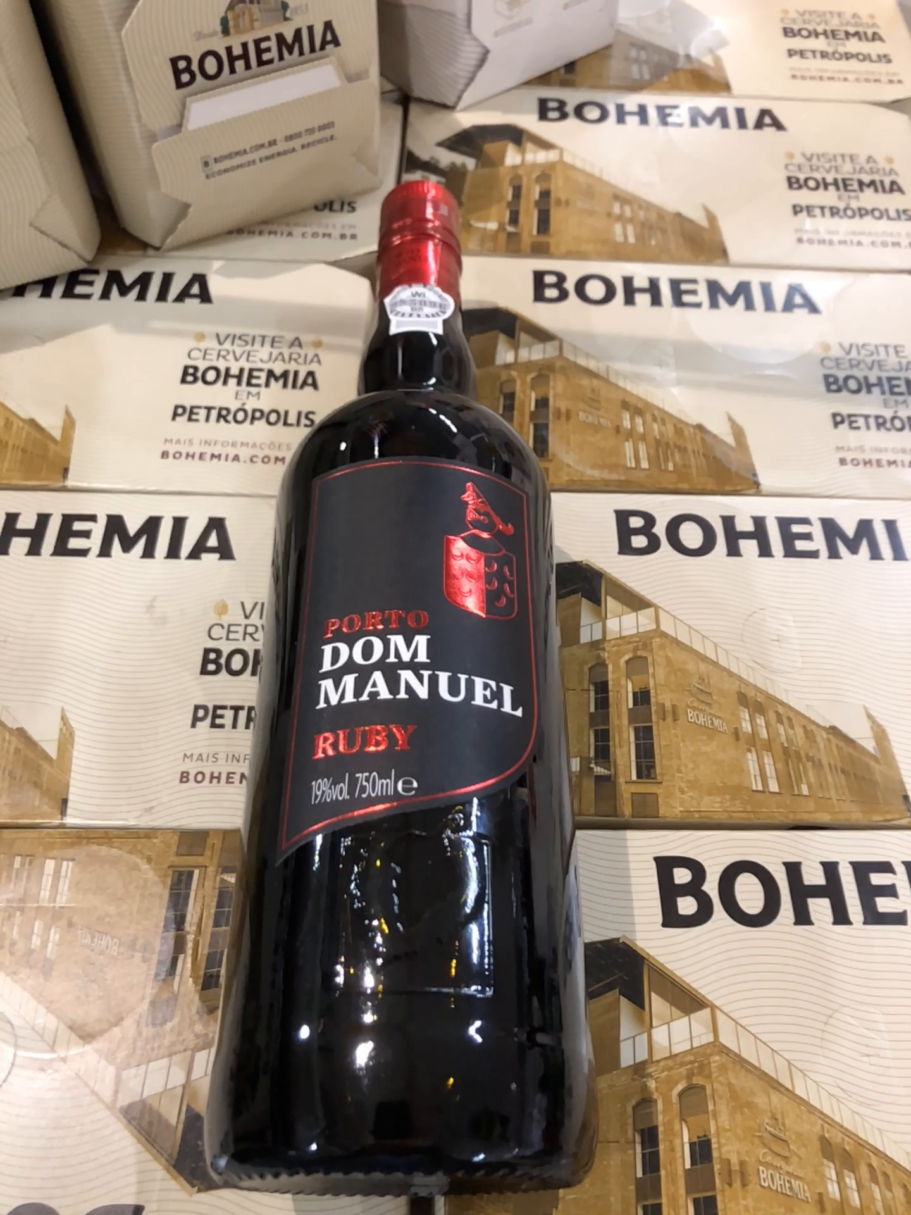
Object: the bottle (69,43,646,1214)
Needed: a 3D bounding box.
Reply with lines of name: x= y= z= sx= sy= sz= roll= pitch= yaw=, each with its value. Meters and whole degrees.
bottle: x=-0.021 y=-0.021 z=0.276 sx=0.090 sy=0.070 sz=0.332 roll=4 pitch=58 yaw=-8
